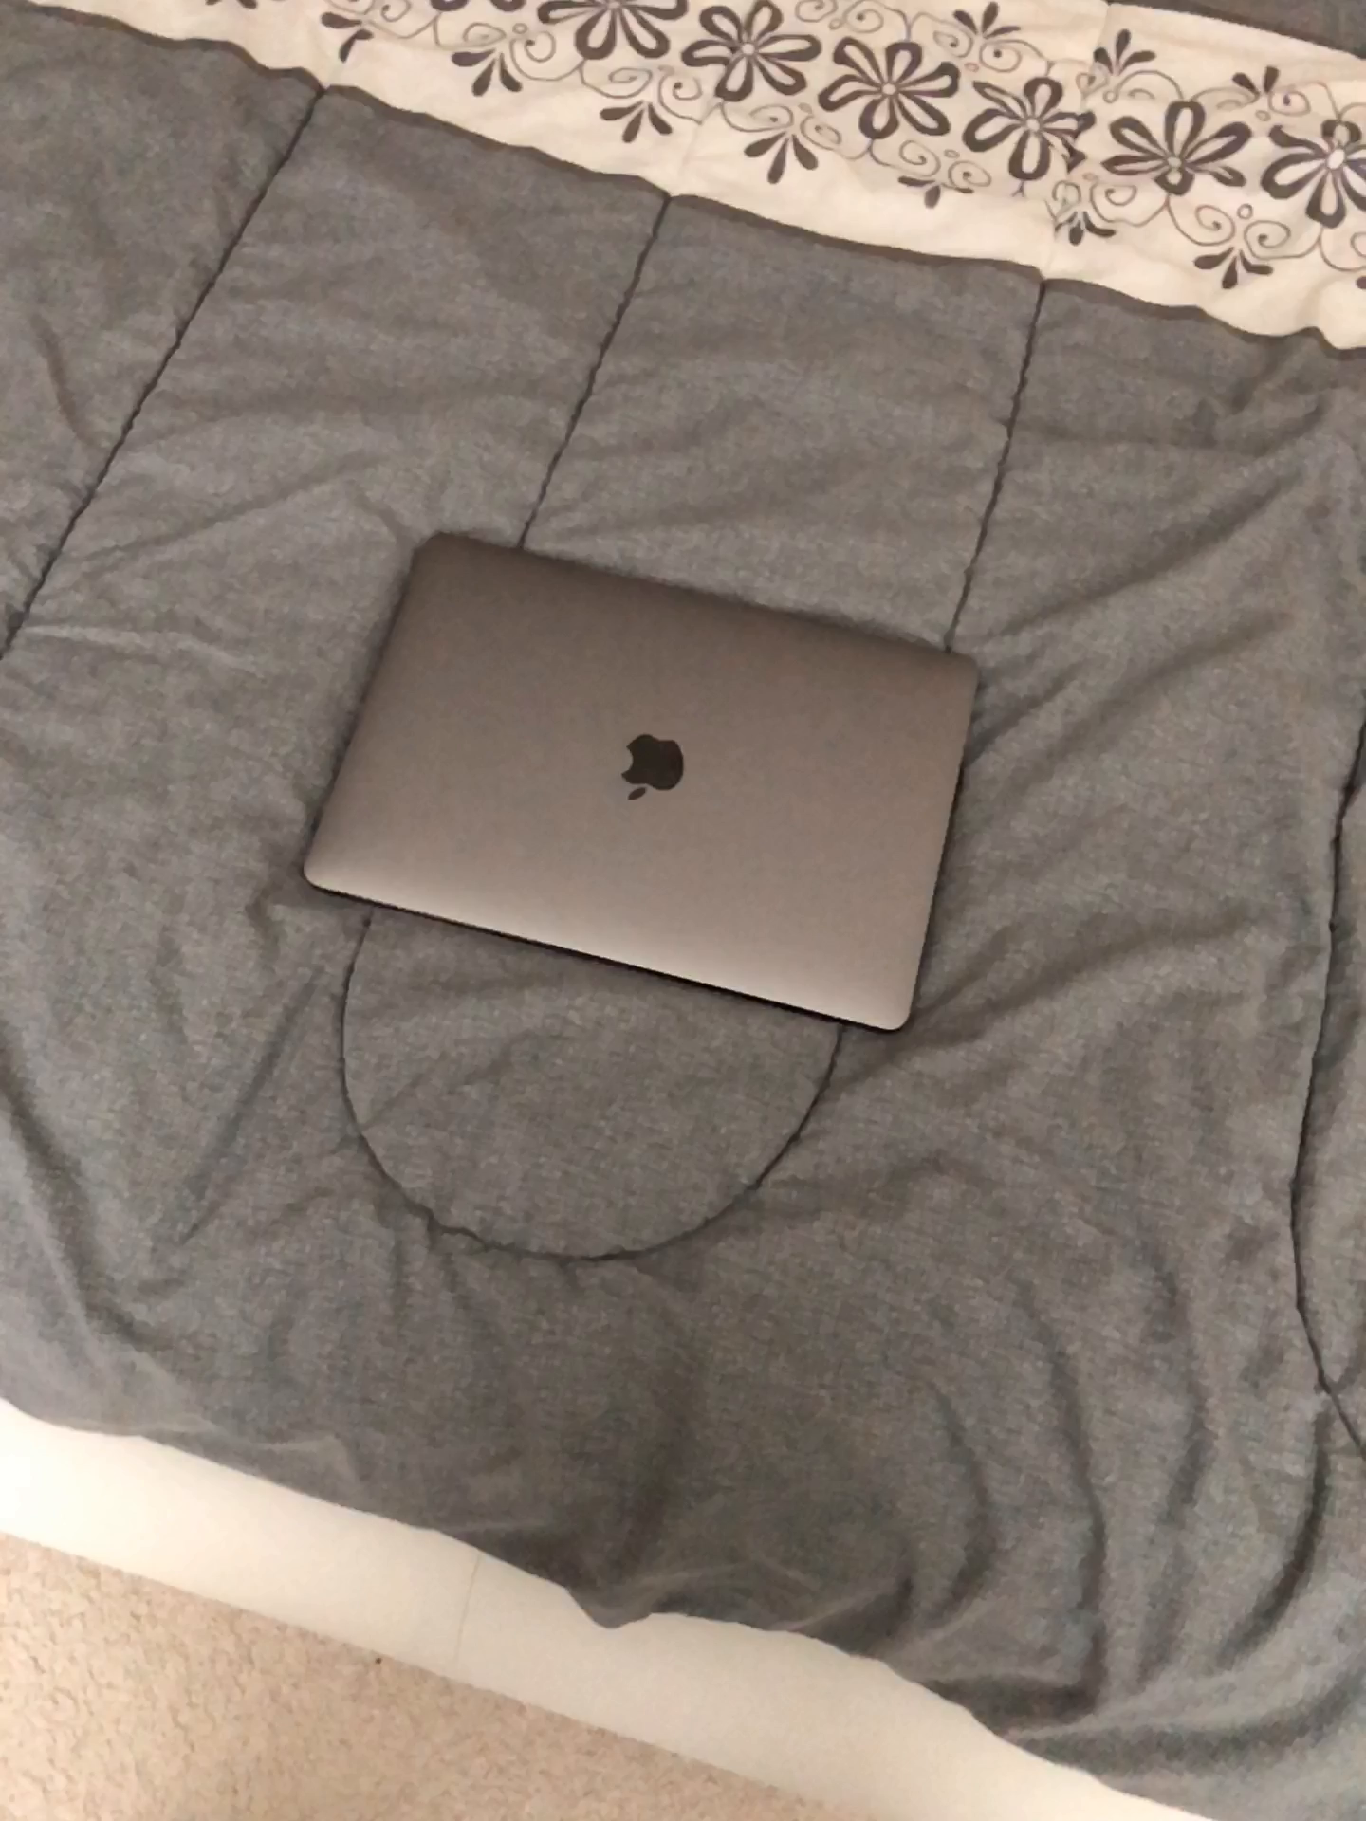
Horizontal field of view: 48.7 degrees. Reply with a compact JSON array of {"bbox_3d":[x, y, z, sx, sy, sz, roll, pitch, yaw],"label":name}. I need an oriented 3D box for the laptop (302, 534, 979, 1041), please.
[{"bbox_3d":[-0.015,-0.068,0.757,0.295,0.008,0.207,14,70,3],"label":"laptop"}]
